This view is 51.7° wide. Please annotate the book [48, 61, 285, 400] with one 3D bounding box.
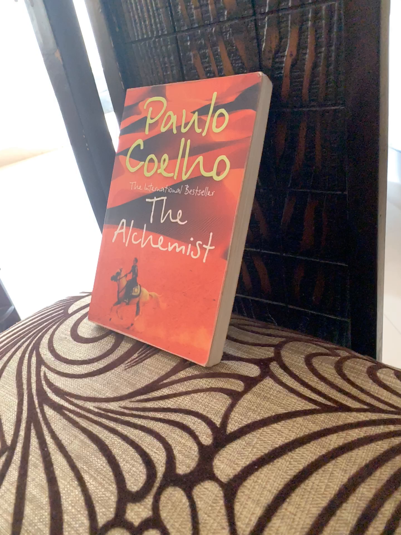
[{"bbox_3d":[-0.029,-0.031,0.289,0.140,0.200,0.030,8,-5,33],"label":"book"}]
